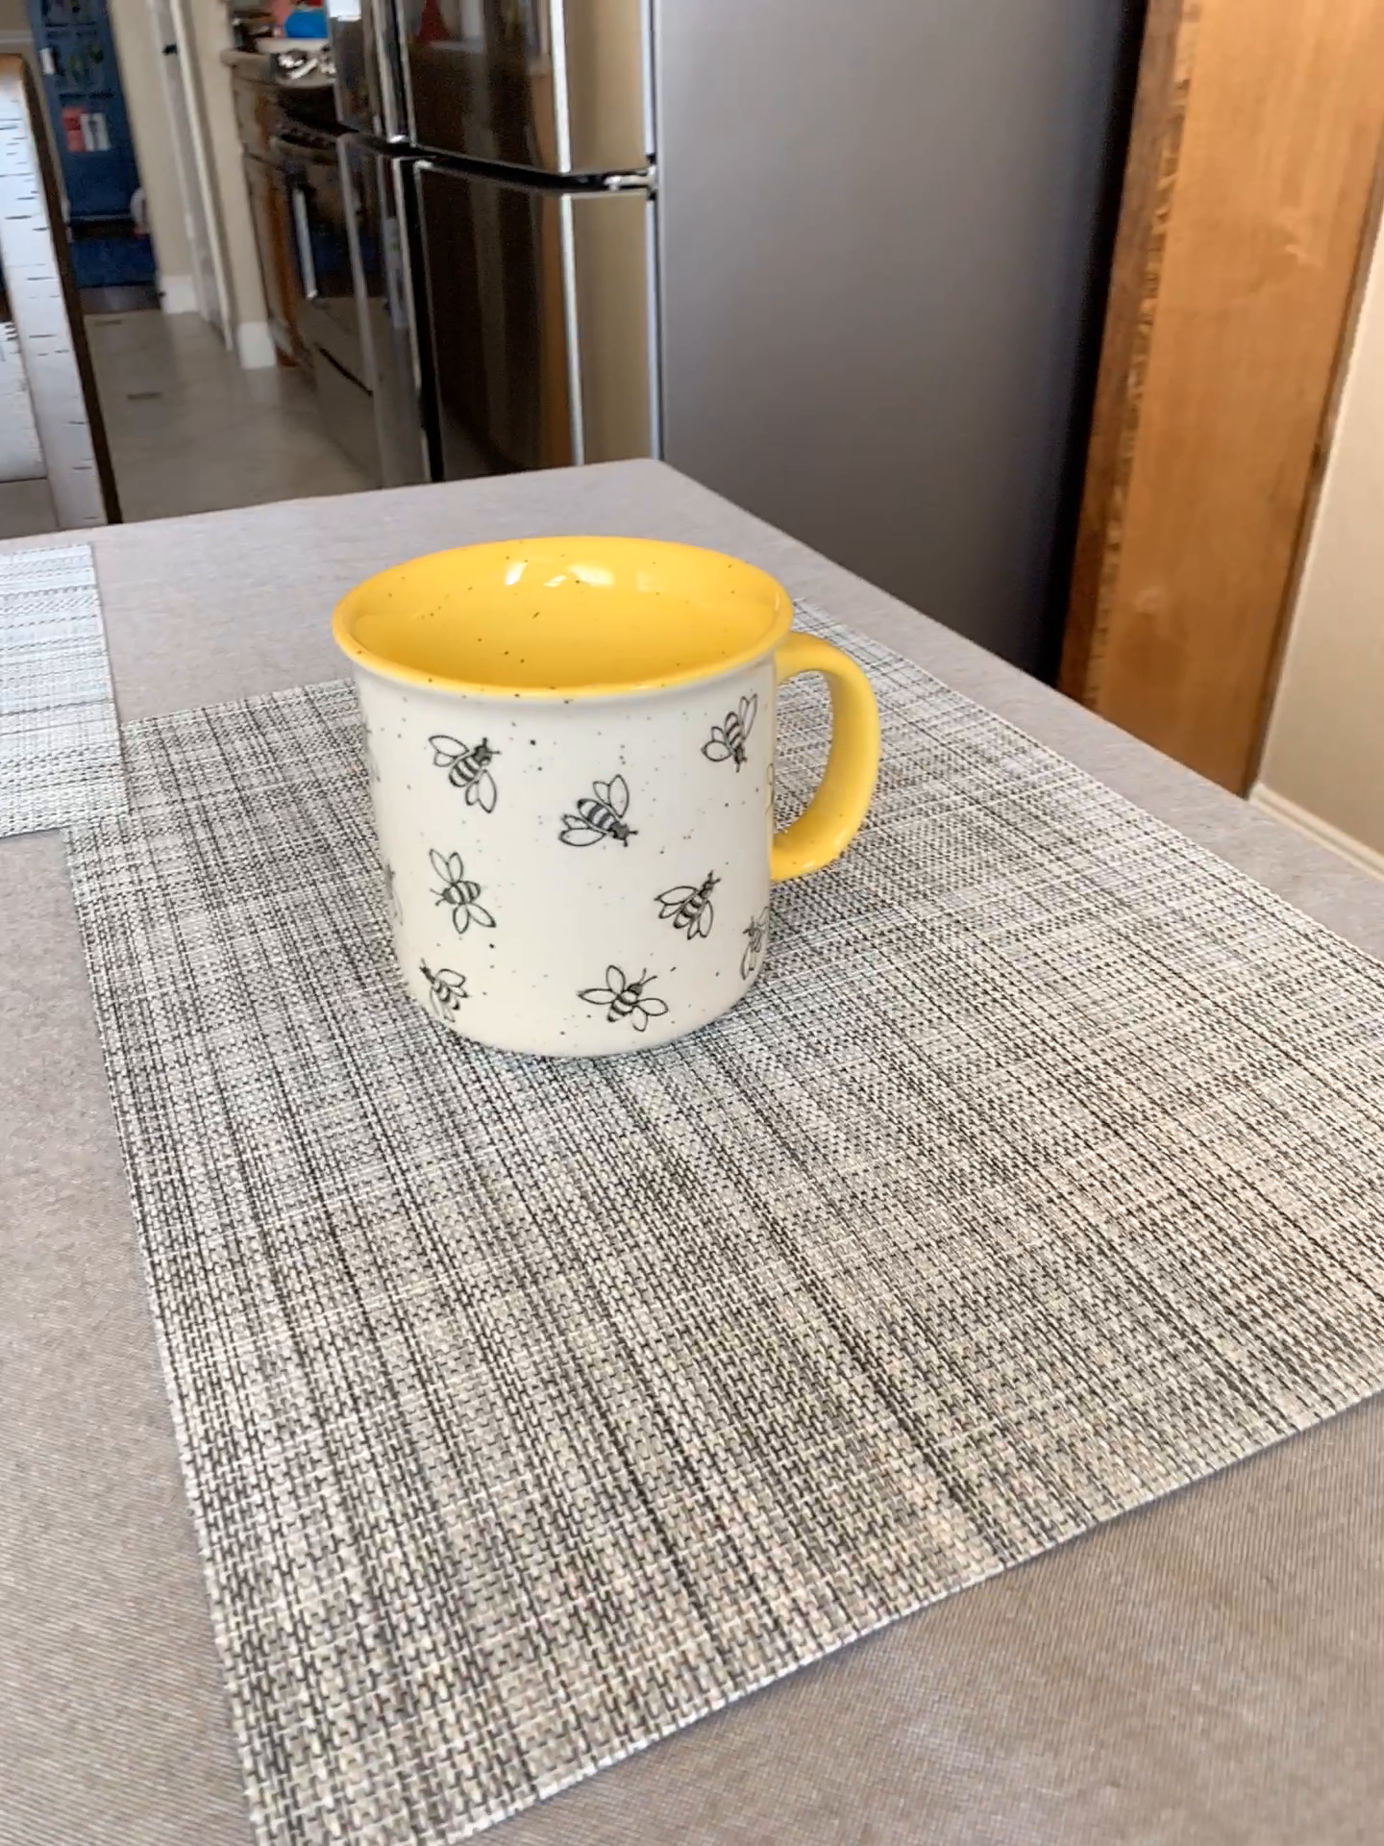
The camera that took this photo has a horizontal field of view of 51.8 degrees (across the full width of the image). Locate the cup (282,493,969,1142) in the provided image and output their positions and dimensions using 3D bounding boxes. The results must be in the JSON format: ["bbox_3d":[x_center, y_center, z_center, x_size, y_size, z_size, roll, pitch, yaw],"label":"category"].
[{"bbox_3d":[-0.021,-0.036,0.375,0.136,0.107,0.114,-13,34,-18],"label":"cup"}]
